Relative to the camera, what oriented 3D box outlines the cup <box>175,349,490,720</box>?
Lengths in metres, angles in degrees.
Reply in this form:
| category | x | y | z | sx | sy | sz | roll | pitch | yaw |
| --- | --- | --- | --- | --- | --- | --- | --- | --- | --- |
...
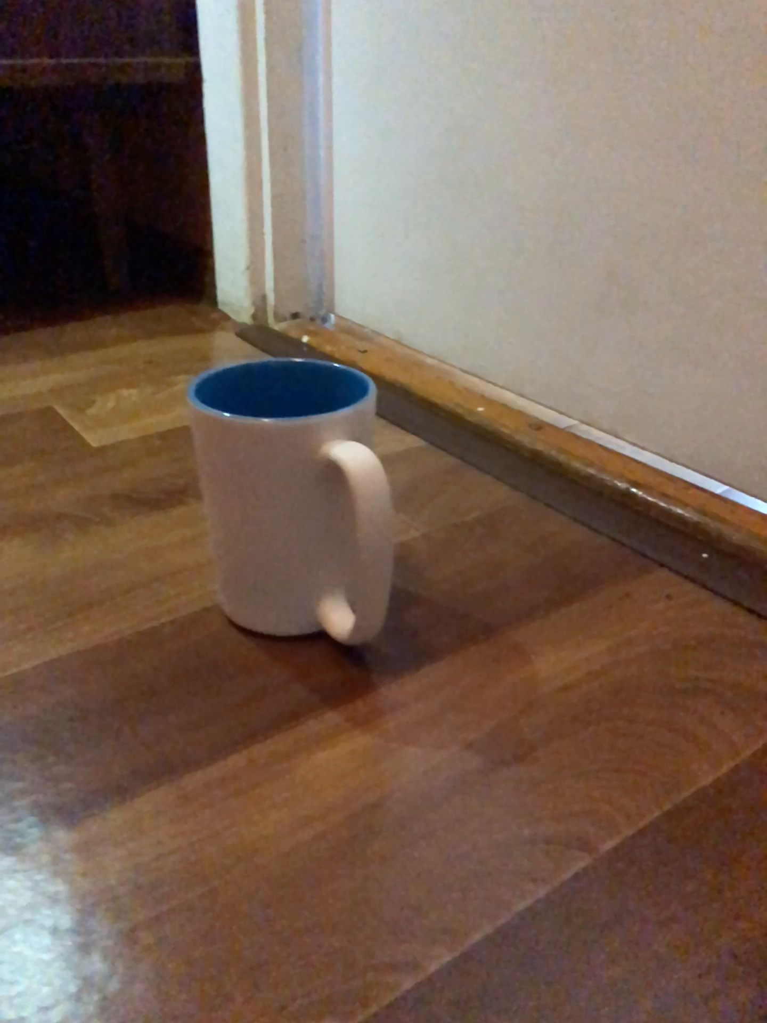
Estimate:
| category | x | y | z | sx | sy | sz | roll | pitch | yaw |
| --- | --- | --- | --- | --- | --- | --- | --- | --- | --- |
| cup | -0.029 | 0.001 | 0.398 | 0.088 | 0.112 | 0.130 | -15 | 31 | -28 |
